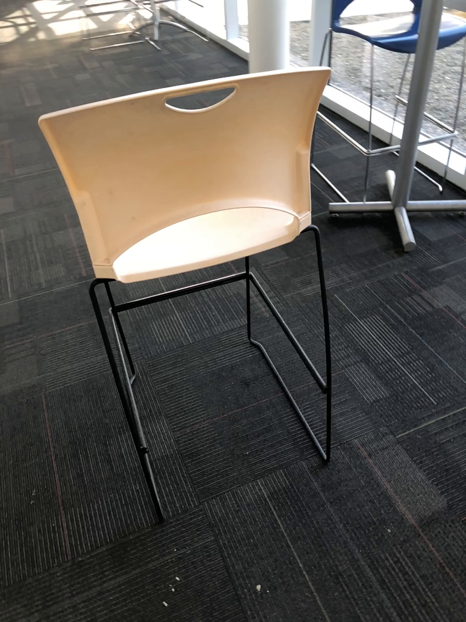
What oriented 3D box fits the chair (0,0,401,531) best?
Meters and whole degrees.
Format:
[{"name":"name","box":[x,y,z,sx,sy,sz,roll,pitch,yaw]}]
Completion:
[{"name":"chair","box":[-0.107,-0.119,1.295,0.580,0.995,0.724,-16,41,-12]}]
